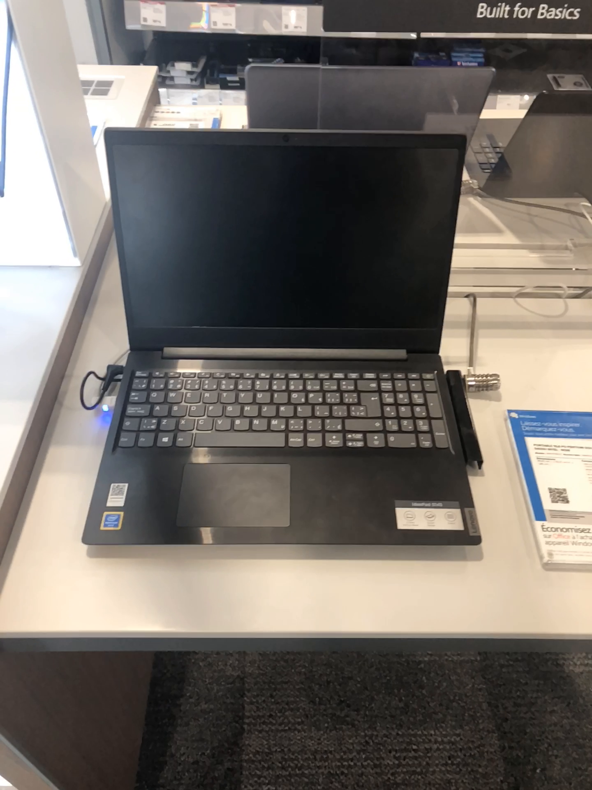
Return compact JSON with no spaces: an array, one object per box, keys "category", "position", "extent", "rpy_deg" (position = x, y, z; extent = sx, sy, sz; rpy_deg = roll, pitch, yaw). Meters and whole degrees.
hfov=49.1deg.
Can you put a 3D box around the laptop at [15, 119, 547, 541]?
[{"category":"laptop","position":[-0.012,-0.068,0.603],"extent":[0.345,0.213,0.324],"rpy_deg":[0,49,-1]}]
